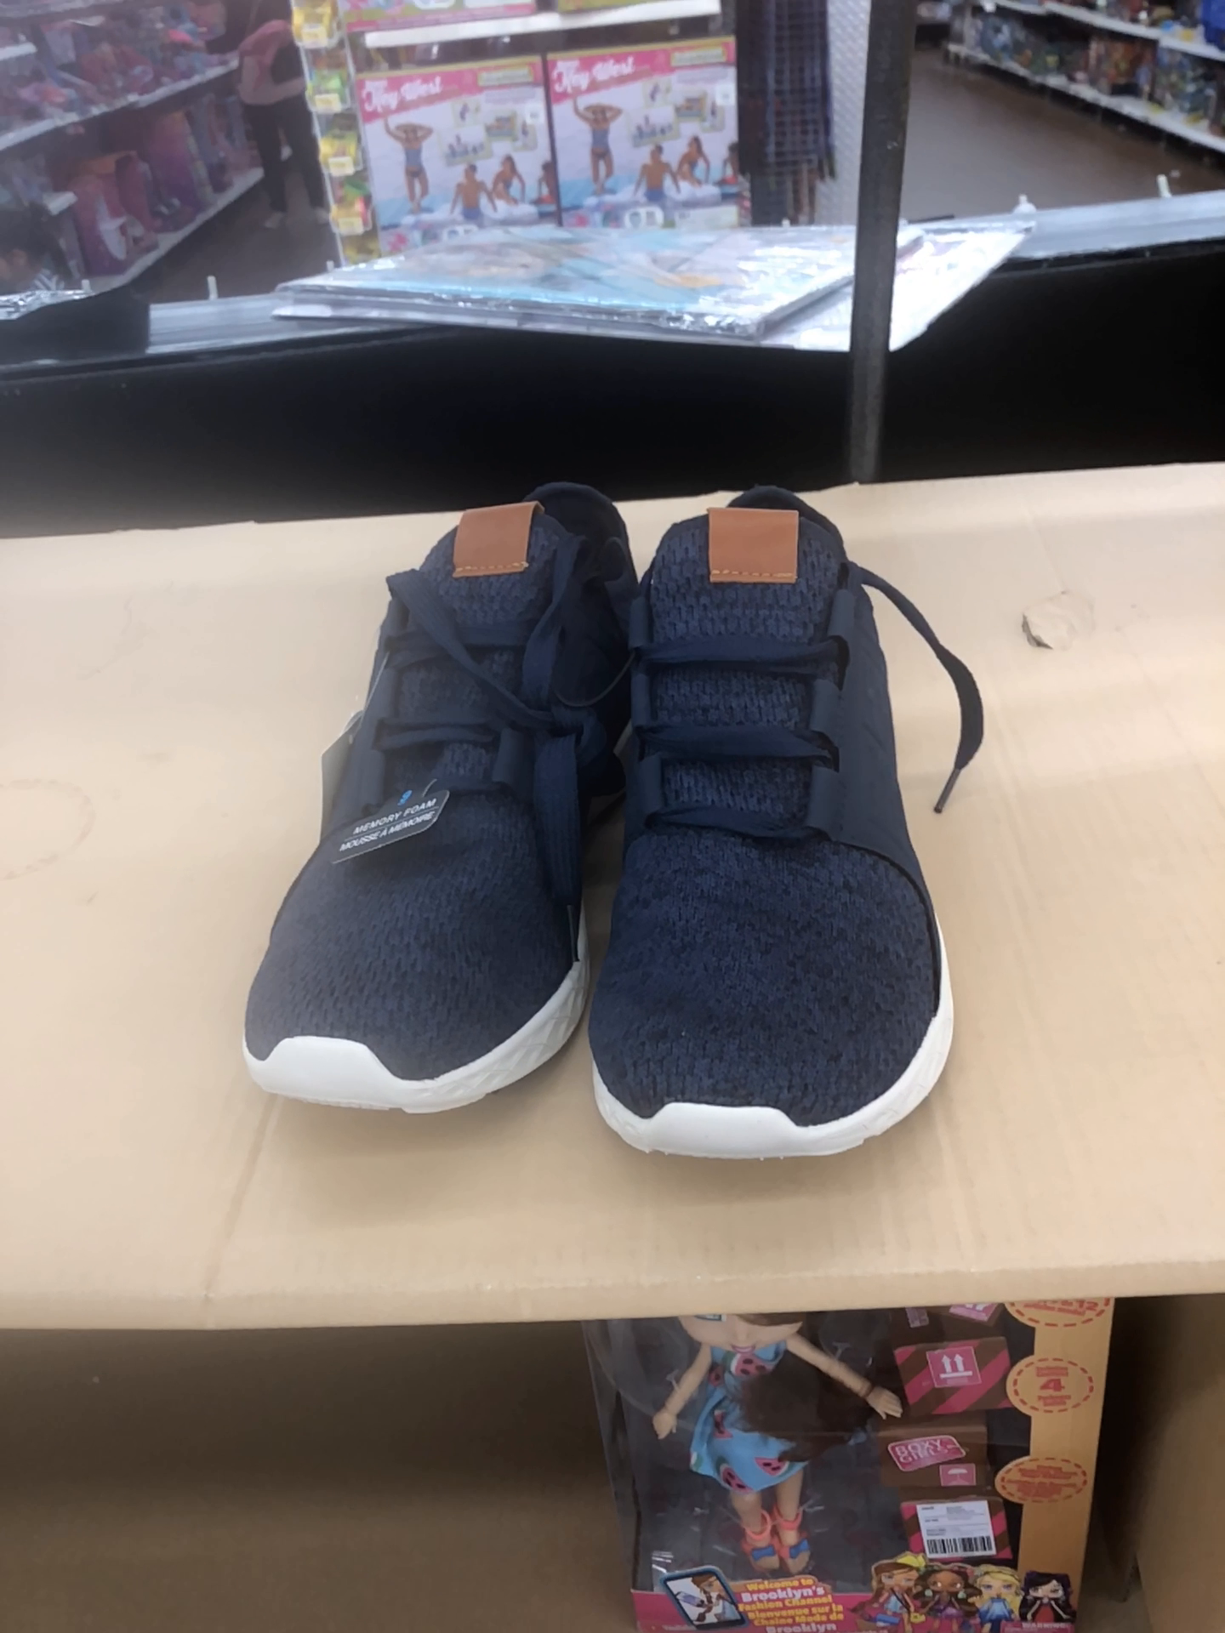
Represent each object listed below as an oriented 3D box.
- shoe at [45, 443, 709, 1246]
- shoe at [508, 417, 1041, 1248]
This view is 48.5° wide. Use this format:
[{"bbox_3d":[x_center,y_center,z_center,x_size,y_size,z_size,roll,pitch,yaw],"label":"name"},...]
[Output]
[{"bbox_3d":[-0.047,-0.018,0.471,0.110,0.129,0.291,3,34,13],"label":"shoe"},{"bbox_3d":[0.052,-0.022,0.436,0.110,0.120,0.291,0,33,7],"label":"shoe"}]
